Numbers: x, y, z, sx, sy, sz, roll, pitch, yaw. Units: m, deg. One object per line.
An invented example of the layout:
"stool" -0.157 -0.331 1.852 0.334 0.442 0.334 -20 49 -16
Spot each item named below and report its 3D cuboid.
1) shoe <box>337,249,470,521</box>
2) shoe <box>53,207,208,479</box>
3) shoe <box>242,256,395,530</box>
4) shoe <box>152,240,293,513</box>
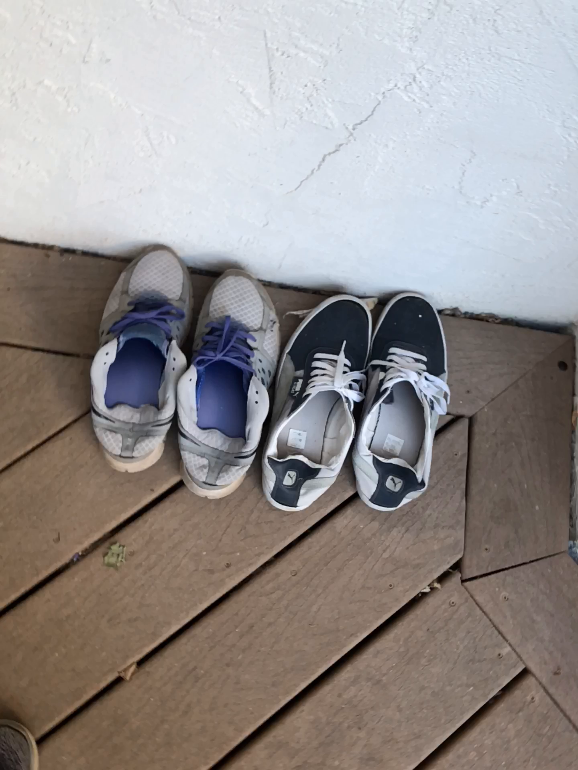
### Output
"shoe" 0.150 0.001 0.837 0.120 0.100 0.330 9 75 -1
"shoe" -0.192 -0.052 0.815 0.120 0.100 0.320 8 75 -2
"shoe" 0.038 0.011 0.820 0.120 0.100 0.320 14 75 0
"shoe" -0.078 -0.008 0.811 0.120 0.100 0.320 8 75 -2
